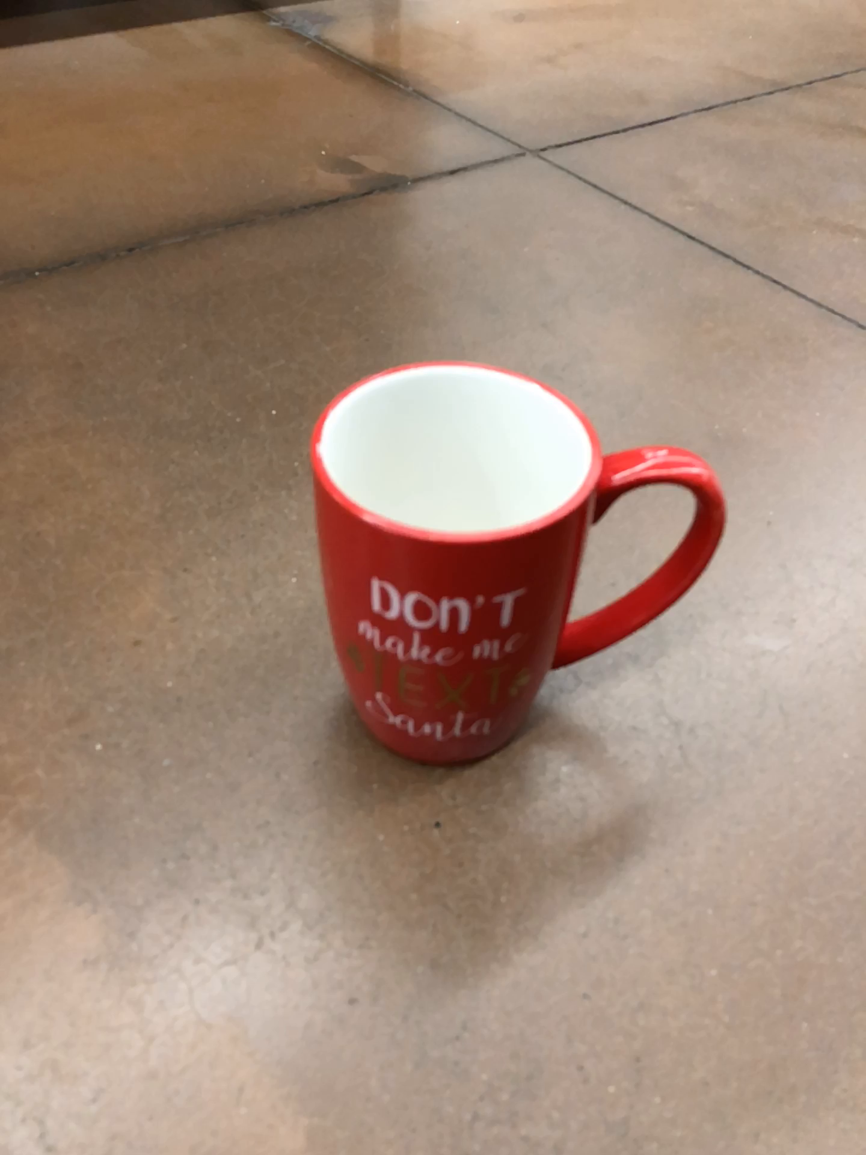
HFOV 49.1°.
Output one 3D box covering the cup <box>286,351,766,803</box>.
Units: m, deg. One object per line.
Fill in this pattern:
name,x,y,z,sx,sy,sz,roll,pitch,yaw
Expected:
cup,0.023,0.003,0.333,0.130,0.130,0.090,1,44,-2
